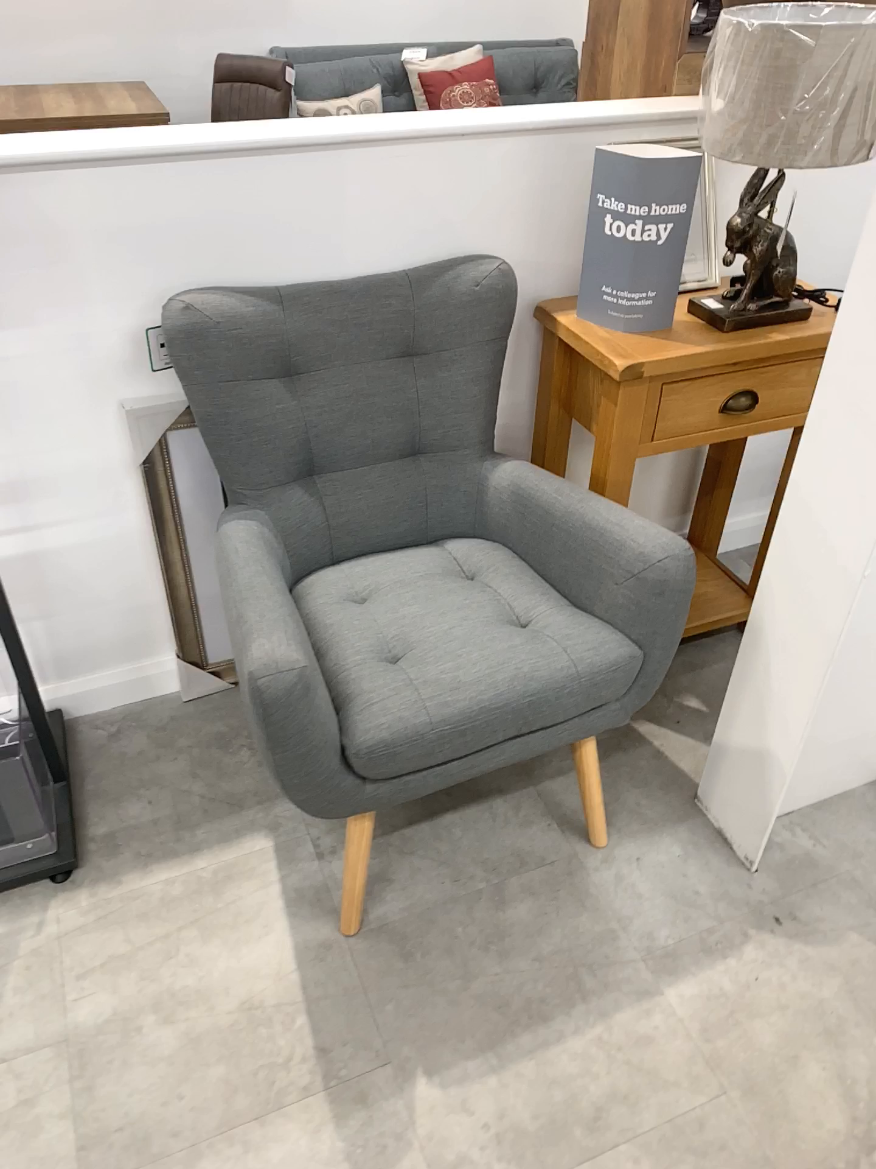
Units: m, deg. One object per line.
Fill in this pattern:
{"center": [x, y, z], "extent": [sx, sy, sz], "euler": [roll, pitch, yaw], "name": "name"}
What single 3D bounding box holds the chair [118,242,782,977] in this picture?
{"center": [-0.024, 0.018, 1.415], "extent": [0.708, 0.877, 0.543], "euler": [-13, 39, -19], "name": "chair"}
